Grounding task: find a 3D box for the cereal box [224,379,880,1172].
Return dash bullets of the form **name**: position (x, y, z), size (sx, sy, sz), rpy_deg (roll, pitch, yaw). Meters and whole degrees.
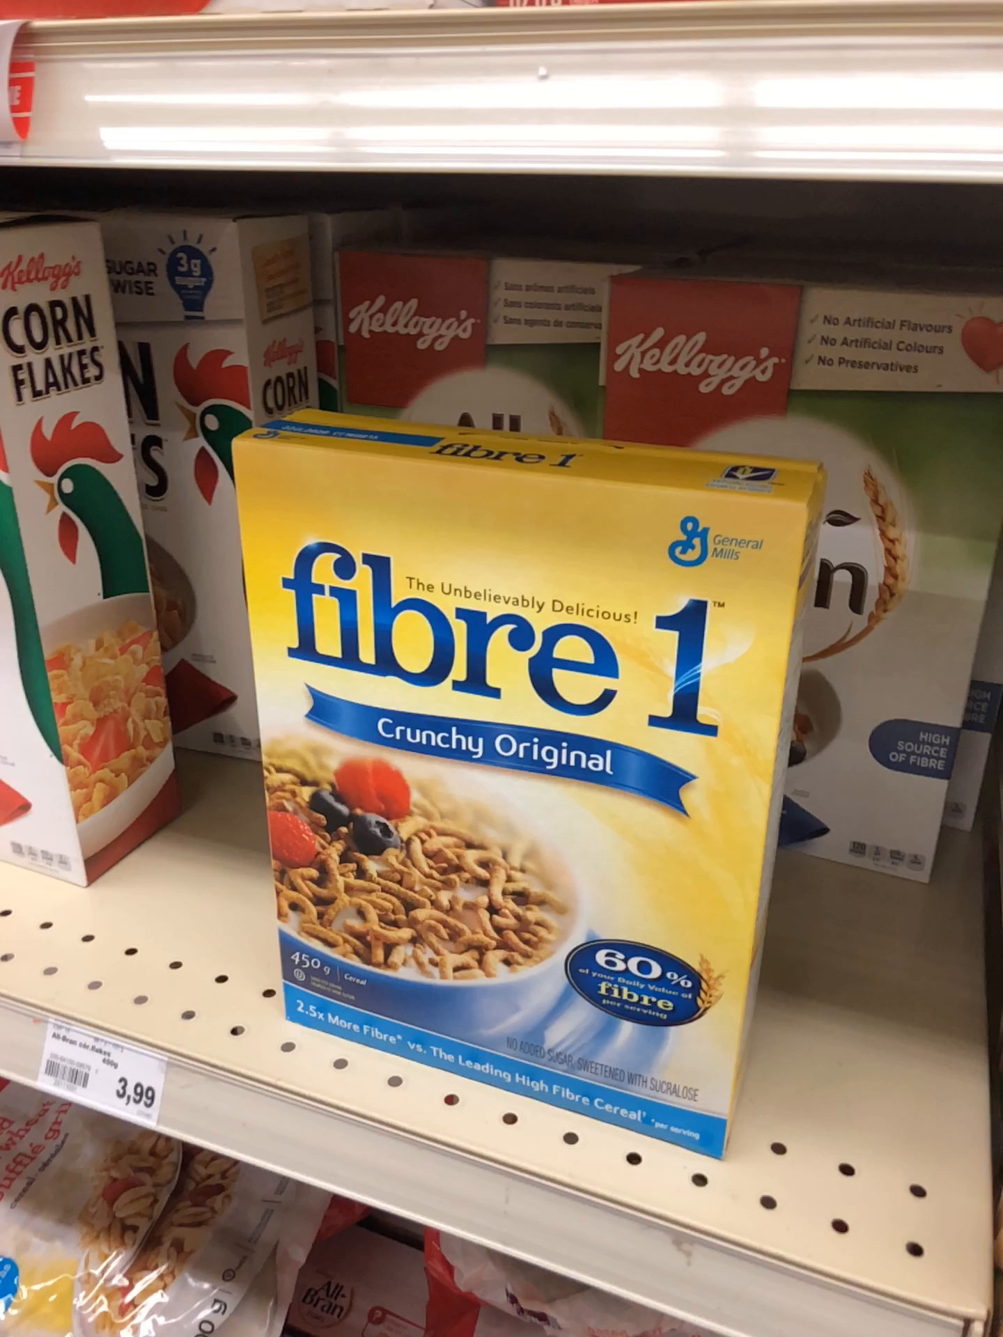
- **cereal box**: position (0.013, 0.040, 0.424), size (0.210, 0.268, 0.060), rpy_deg (10, 27, 20)
